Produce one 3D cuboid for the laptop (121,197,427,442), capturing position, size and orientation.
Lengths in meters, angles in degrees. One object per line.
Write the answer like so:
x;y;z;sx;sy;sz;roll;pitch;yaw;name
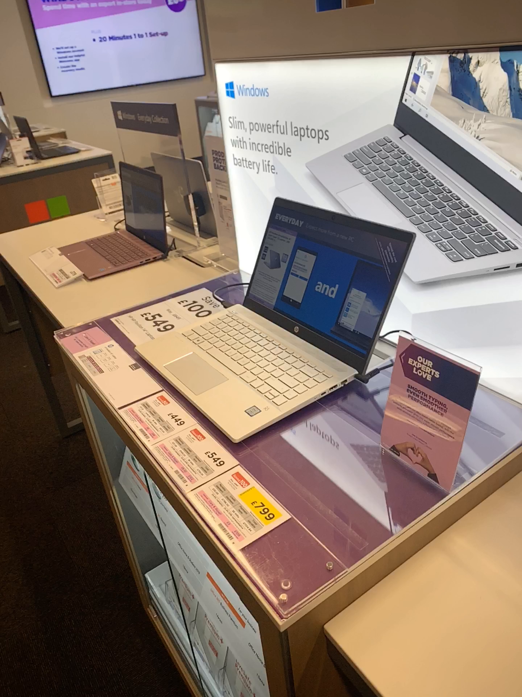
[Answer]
0.014;-0.077;0.814;0.323;0.171;0.314;-25;35;-26;laptop
